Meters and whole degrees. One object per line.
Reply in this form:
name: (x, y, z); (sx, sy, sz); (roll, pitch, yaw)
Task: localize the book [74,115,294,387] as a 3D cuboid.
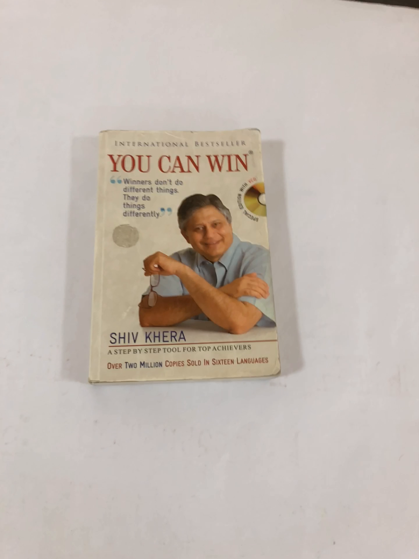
book: (-0.022, -0.027, 0.369); (0.150, 0.040, 0.210); (-1, 72, -6)
